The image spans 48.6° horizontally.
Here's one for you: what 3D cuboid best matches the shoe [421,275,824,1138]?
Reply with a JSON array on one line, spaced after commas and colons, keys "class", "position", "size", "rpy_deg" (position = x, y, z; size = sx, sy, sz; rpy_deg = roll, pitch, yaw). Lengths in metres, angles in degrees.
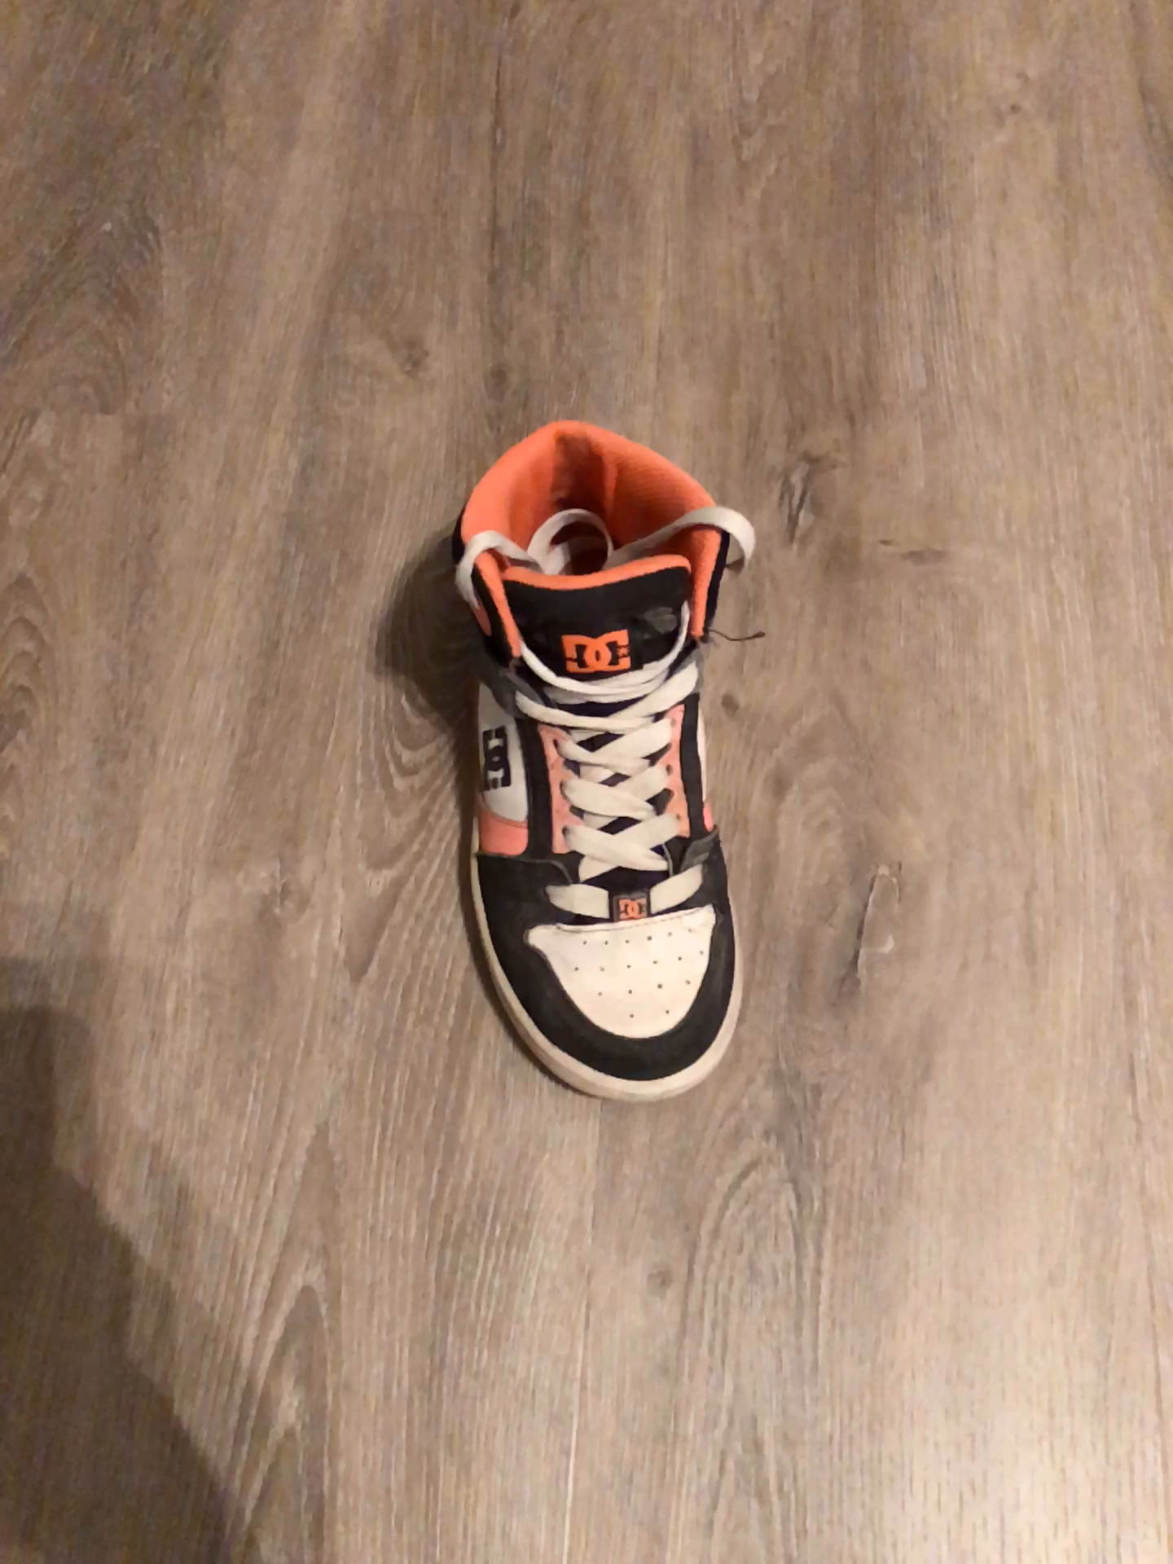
[{"class": "shoe", "position": [0.003, -0.020, 0.428], "size": [0.090, 0.140, 0.240], "rpy_deg": [-5, 67, -1]}]
